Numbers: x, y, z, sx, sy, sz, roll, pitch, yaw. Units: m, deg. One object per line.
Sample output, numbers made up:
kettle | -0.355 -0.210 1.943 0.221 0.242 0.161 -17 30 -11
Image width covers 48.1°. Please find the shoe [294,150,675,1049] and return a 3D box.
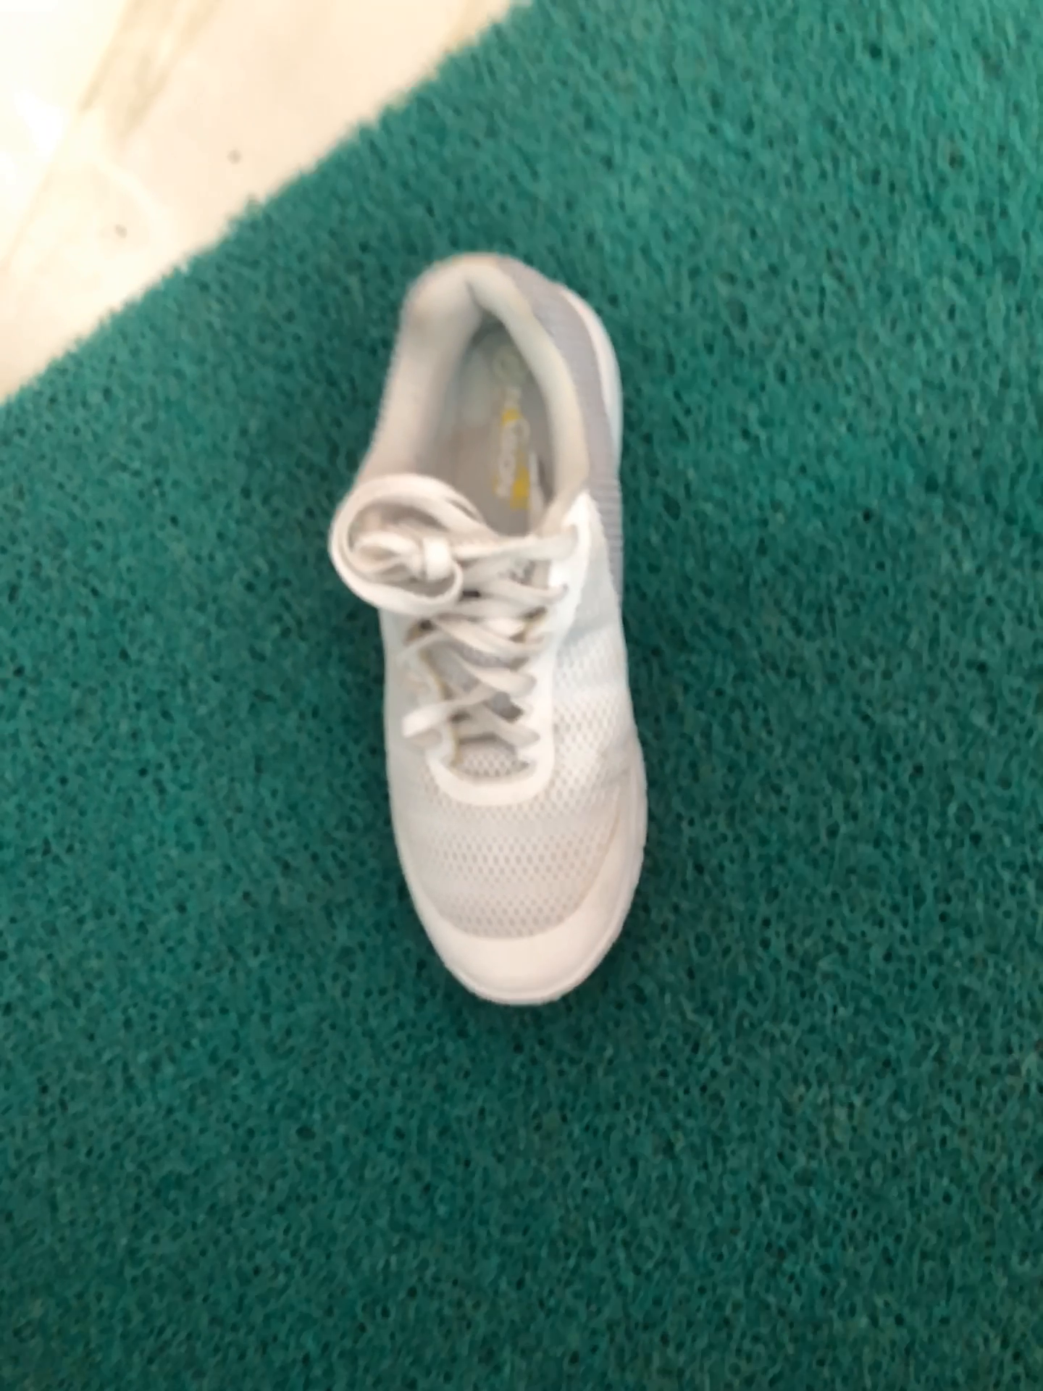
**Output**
shoe | -0.006 -0.032 0.435 0.100 0.100 0.290 2 86 15
